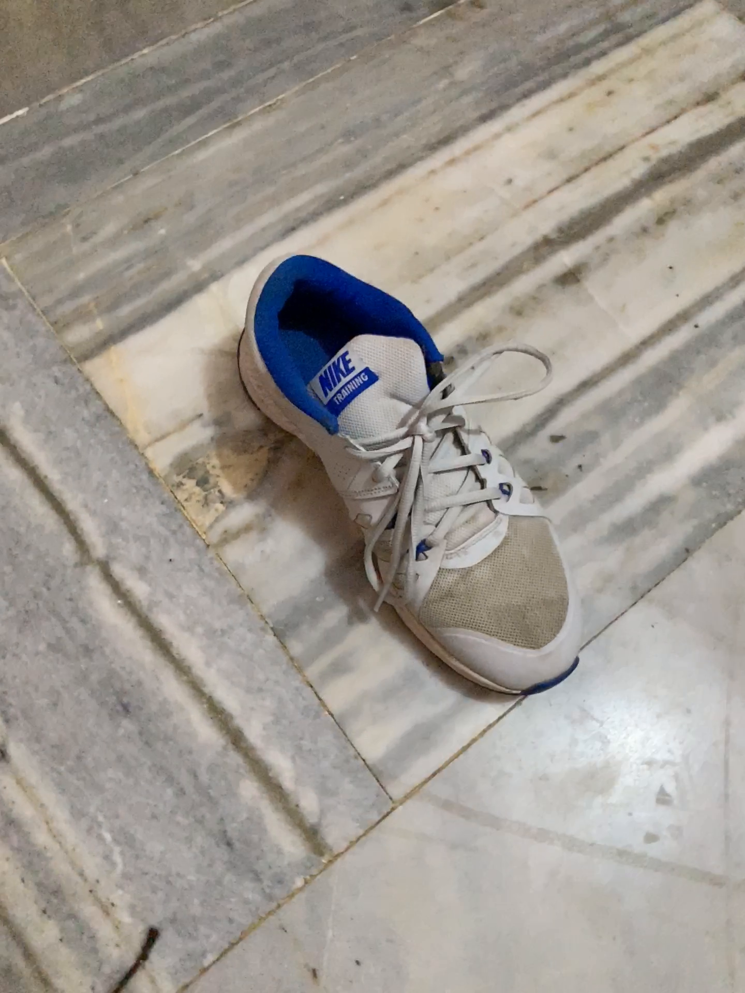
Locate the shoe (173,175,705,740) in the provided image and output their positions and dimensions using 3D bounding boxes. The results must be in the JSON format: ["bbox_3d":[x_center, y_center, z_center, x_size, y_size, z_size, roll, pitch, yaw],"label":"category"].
[{"bbox_3d":[0.023,-0.025,0.443,0.116,0.100,0.300,-34,74,-14],"label":"shoe"}]
